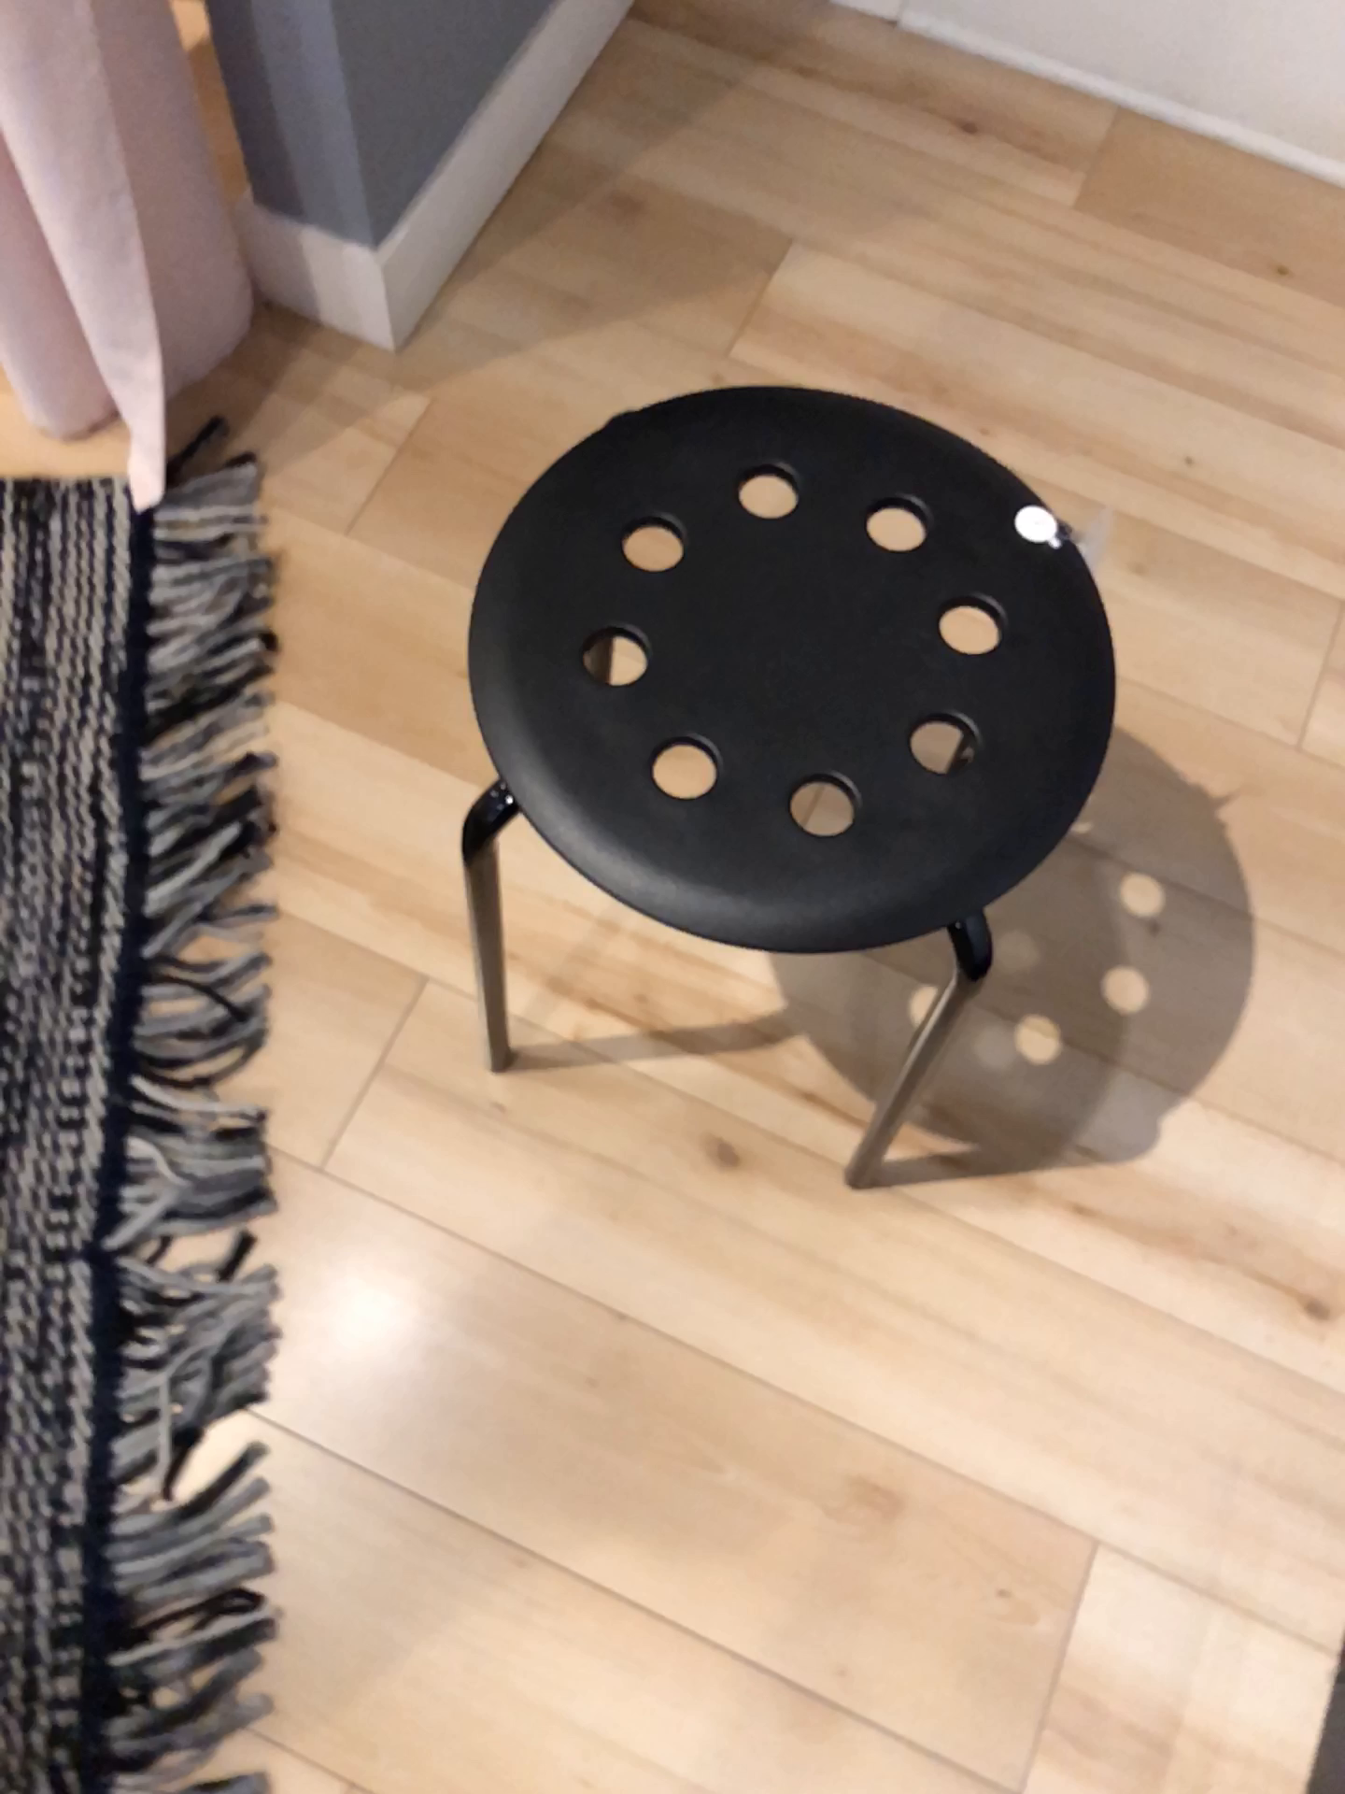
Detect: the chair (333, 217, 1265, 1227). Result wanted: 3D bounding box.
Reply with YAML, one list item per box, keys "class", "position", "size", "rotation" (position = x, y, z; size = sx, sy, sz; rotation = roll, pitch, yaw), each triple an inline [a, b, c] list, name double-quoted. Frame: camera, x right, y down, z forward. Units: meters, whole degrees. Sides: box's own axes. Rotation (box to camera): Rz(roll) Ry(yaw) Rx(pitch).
- class: "chair"
  position: [0.070, -0.073, 0.917]
  size: [0.370, 0.400, 0.380]
  rotation: [17, 68, 4]
